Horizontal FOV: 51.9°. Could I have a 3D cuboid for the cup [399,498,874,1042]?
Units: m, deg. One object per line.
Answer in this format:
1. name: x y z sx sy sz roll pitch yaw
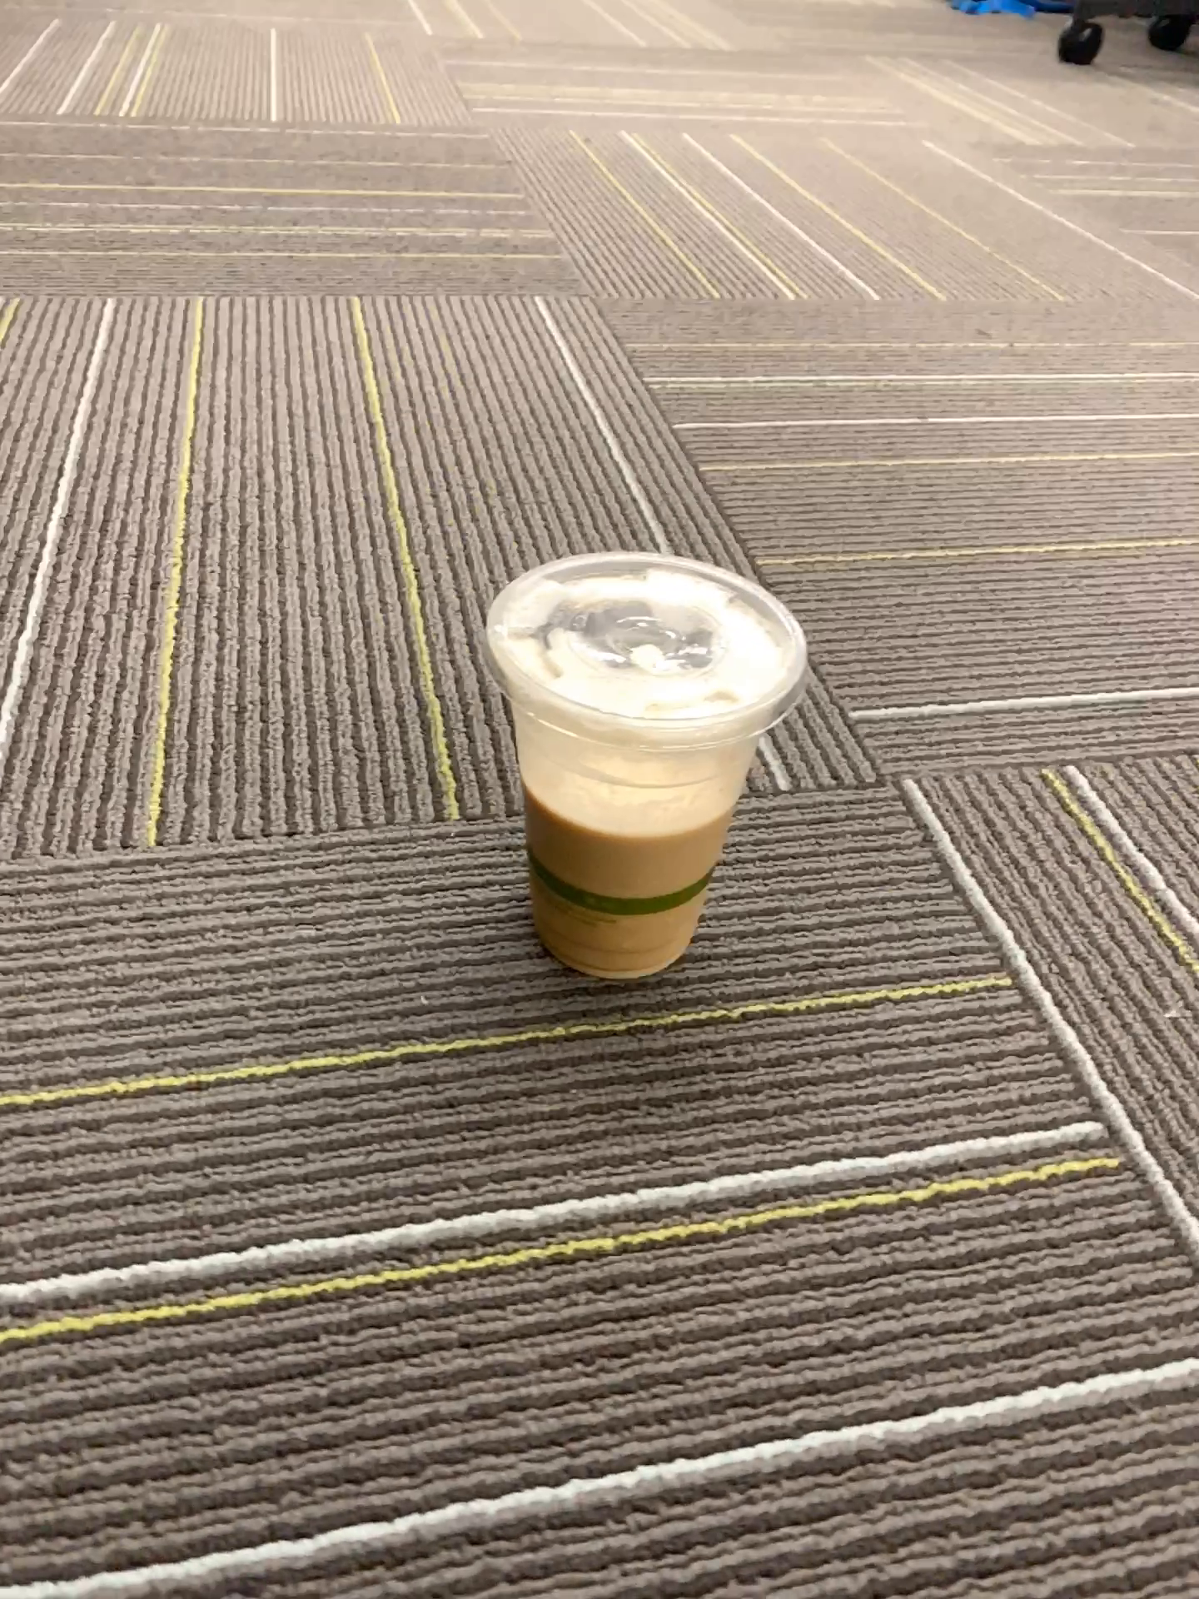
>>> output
1. cup: 0.009 -0.014 0.393 0.100 0.109 0.100 3 39 -2
